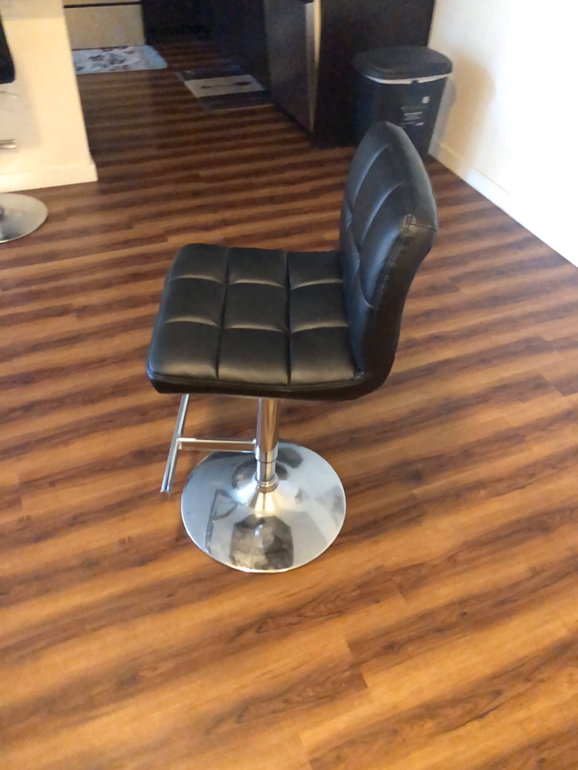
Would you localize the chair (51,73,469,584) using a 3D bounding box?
[{"bbox_3d":[-0.053,-0.071,1.379,0.568,0.953,0.537,3,42,-1],"label":"chair"}]
